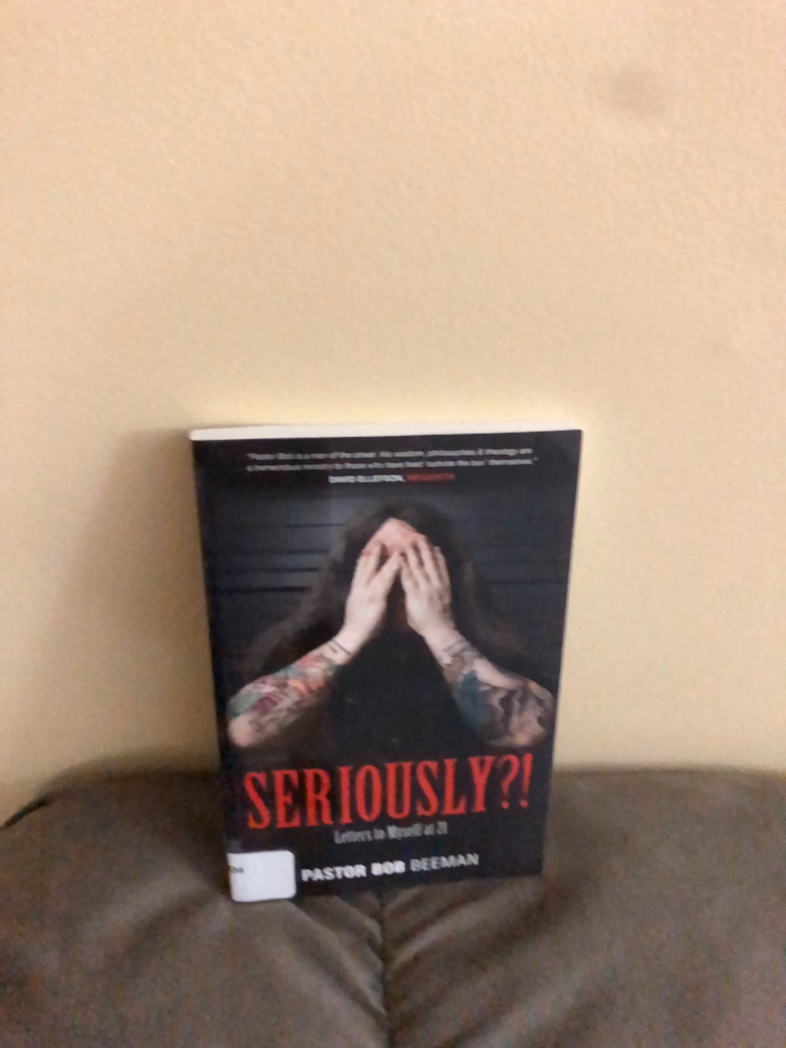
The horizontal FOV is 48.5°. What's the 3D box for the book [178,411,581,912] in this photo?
[{"bbox_3d":[-0.003,0.061,0.344,0.136,0.205,0.023,-3,23,-6],"label":"book"}]
